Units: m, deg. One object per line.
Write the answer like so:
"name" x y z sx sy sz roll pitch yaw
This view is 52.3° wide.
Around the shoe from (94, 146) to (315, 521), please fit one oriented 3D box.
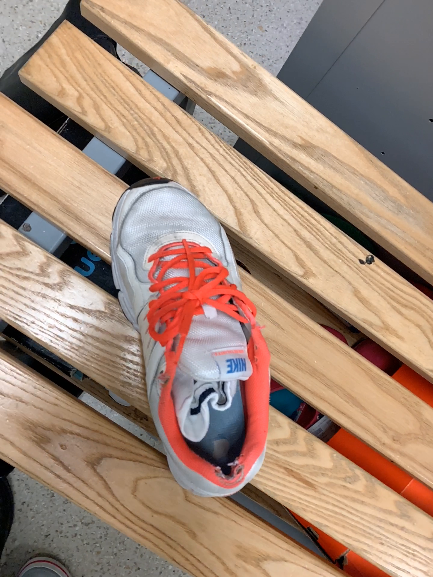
"shoe" -0.016 0.026 0.343 0.110 0.079 0.241 -10 86 -14
